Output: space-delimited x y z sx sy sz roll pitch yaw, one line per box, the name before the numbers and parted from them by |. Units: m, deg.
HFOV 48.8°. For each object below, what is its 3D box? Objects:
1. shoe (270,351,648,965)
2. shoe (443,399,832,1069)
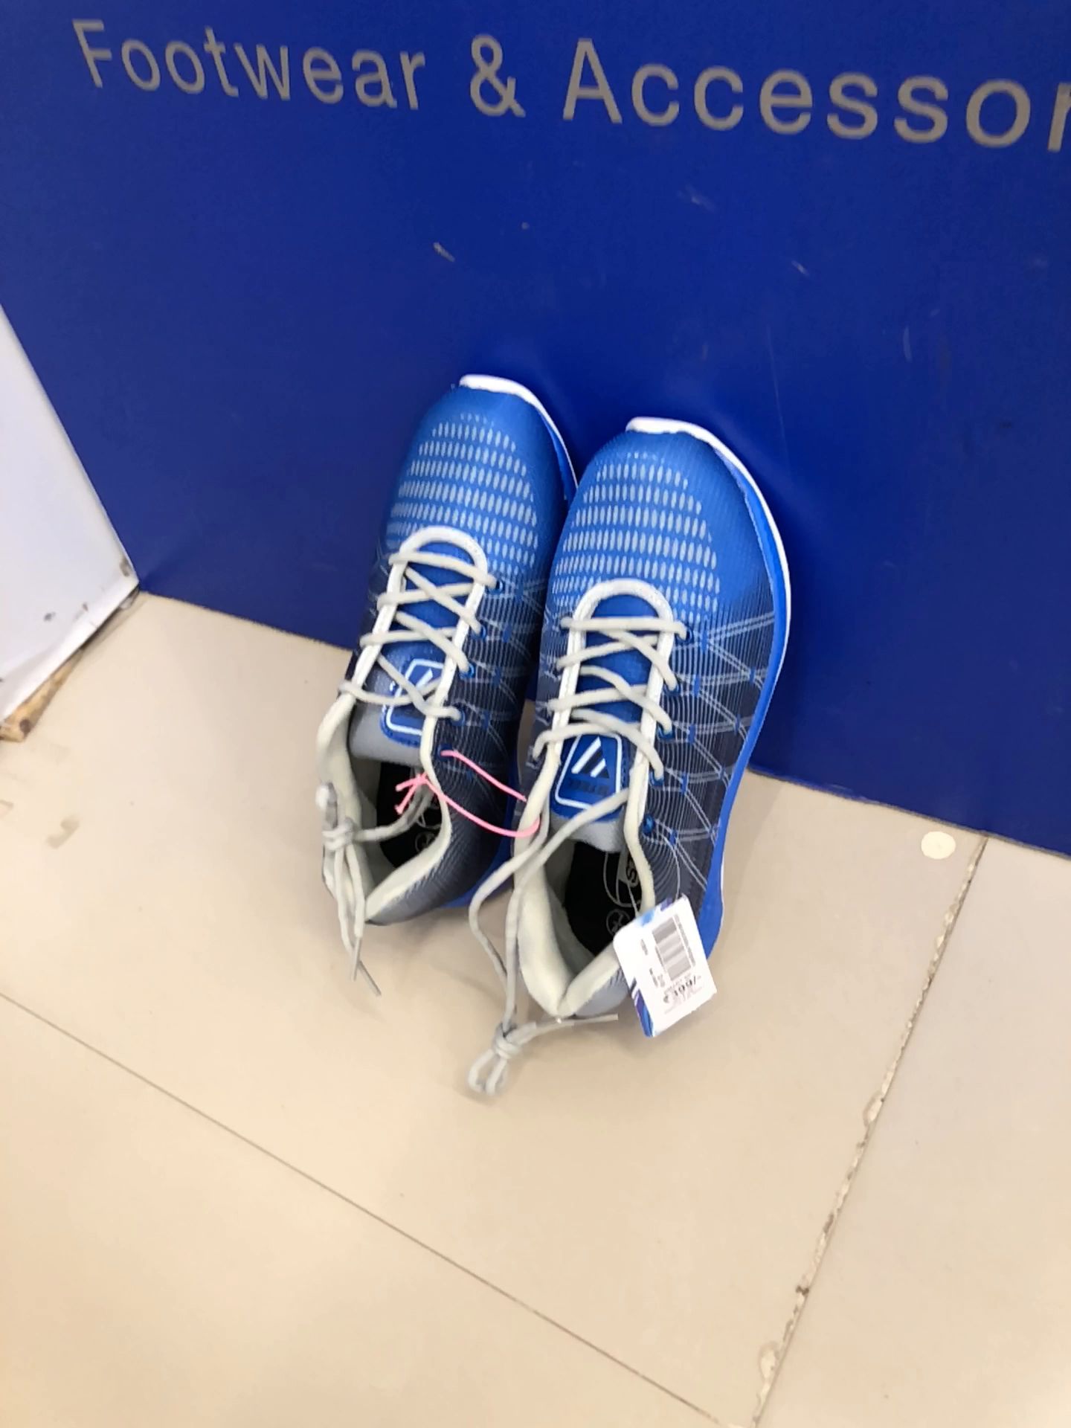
shoe | -0.038 -0.030 0.600 0.110 0.270 0.100 15 8 21
shoe | 0.053 0.006 0.555 0.100 0.120 0.270 11 92 25
